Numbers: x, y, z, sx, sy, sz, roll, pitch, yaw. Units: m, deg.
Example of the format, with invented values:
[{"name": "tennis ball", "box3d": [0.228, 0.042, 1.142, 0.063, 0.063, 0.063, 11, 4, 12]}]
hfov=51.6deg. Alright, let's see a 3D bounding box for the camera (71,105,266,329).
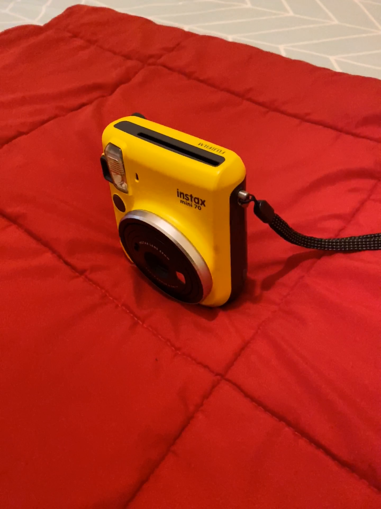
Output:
[{"name": "camera", "box3d": [-0.010, -0.024, 0.256, 0.095, 0.103, 0.057, 29, 56, 28]}]
